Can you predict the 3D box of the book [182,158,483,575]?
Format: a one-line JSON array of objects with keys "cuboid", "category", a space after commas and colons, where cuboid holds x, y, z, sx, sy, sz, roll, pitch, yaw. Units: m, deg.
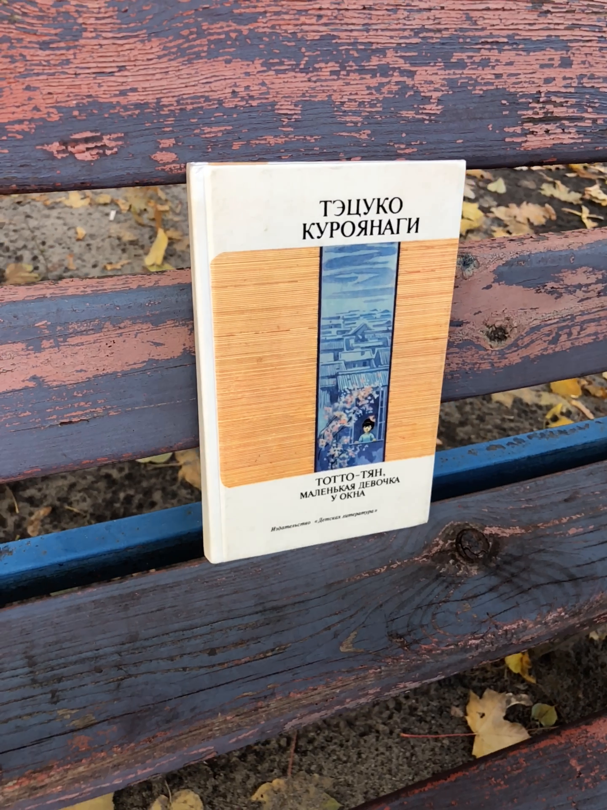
[{"cuboid": [0.013, -0.015, 0.330, 0.134, 0.198, 0.016, -8, 27, -20], "category": "book"}]
